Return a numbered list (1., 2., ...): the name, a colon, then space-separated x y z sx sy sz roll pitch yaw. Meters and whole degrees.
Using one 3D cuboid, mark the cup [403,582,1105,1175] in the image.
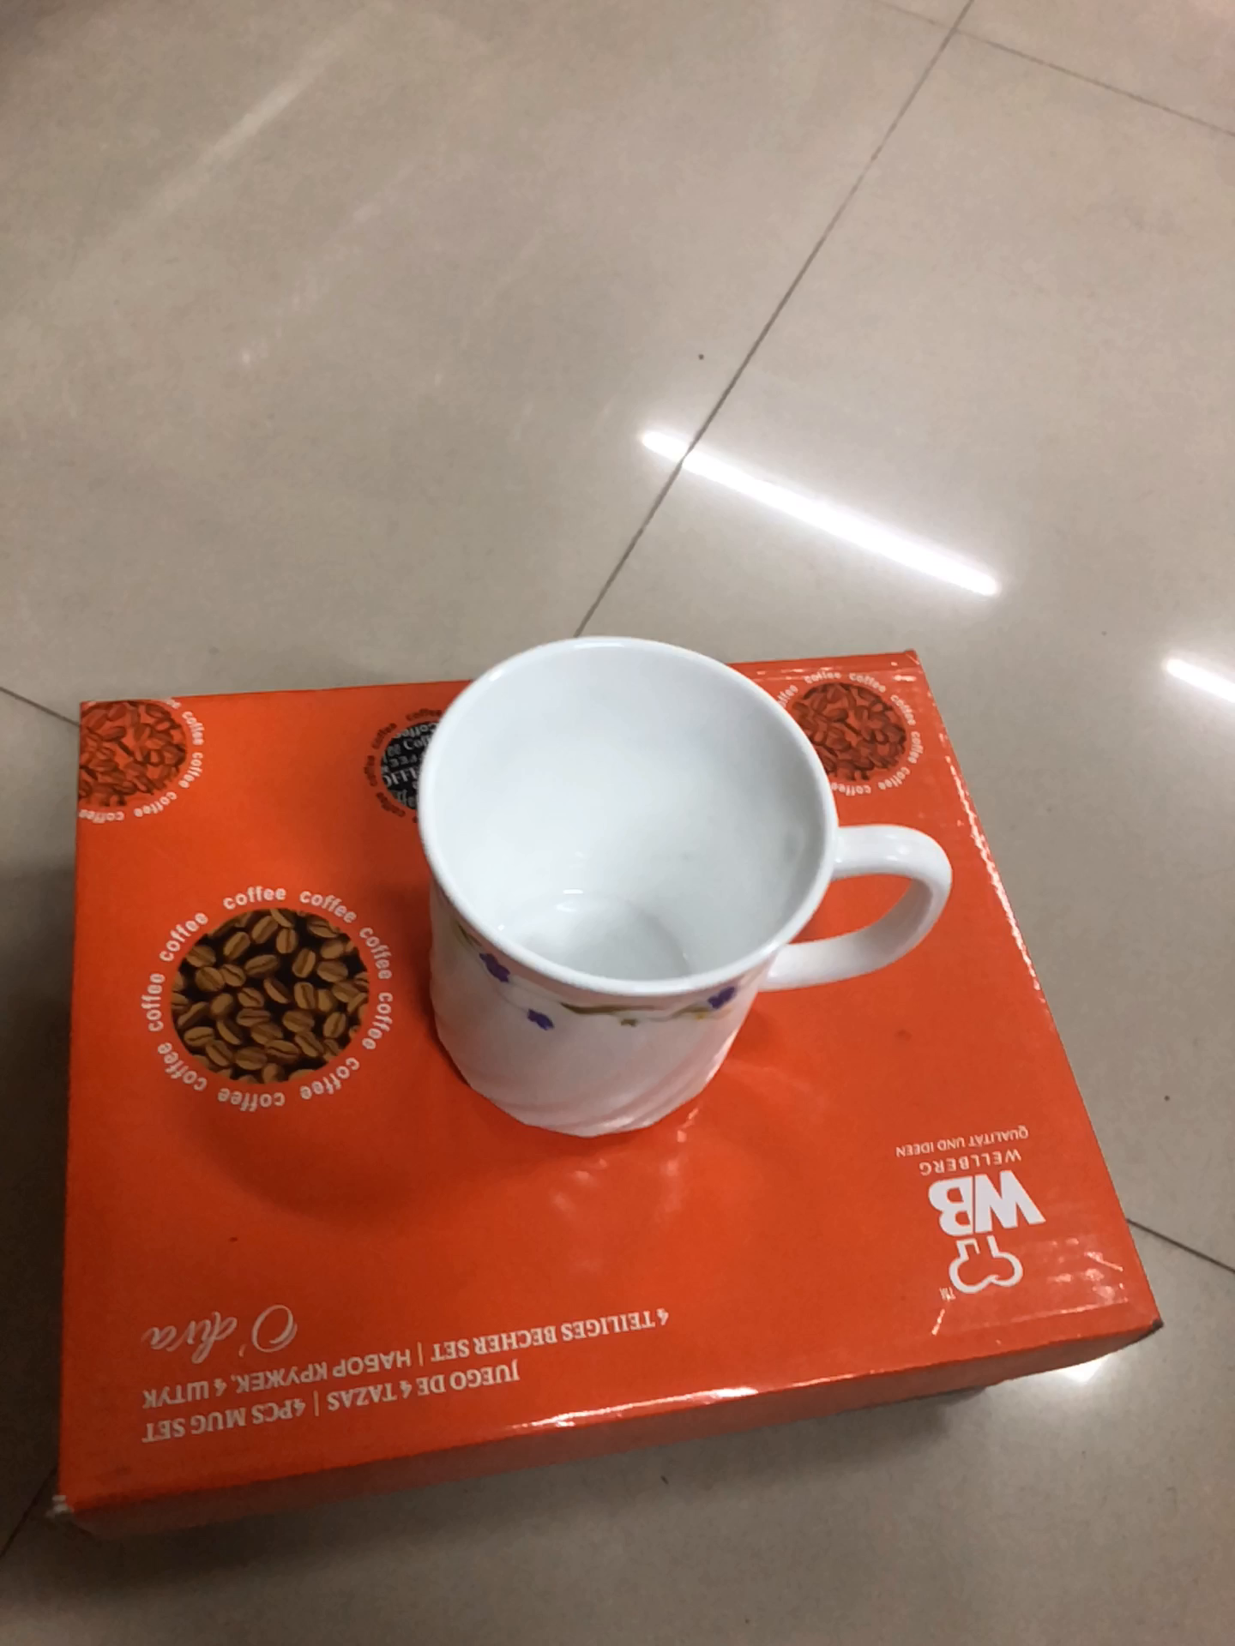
1. cup: 0.018 0.017 0.291 0.120 0.090 0.090 2 59 -7
